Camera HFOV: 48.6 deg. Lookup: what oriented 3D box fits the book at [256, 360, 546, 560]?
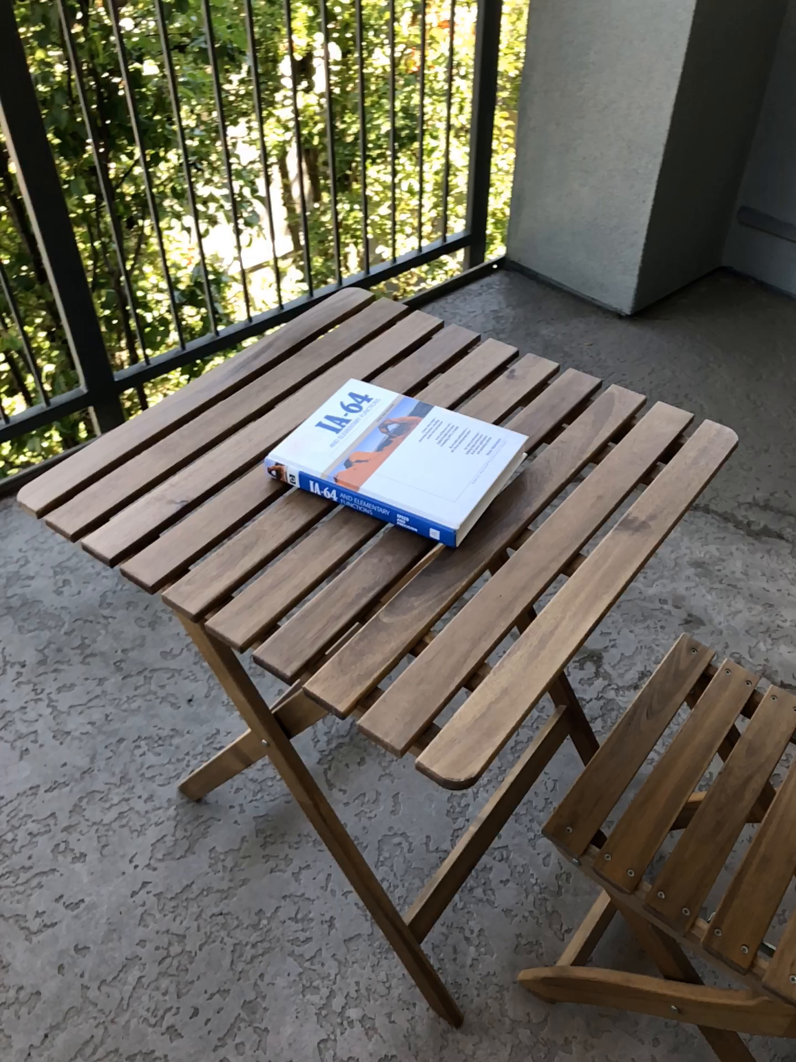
[{"bbox_3d":[0.006,-0.089,0.978,0.250,0.040,0.201,23,48,22],"label":"book"}]
